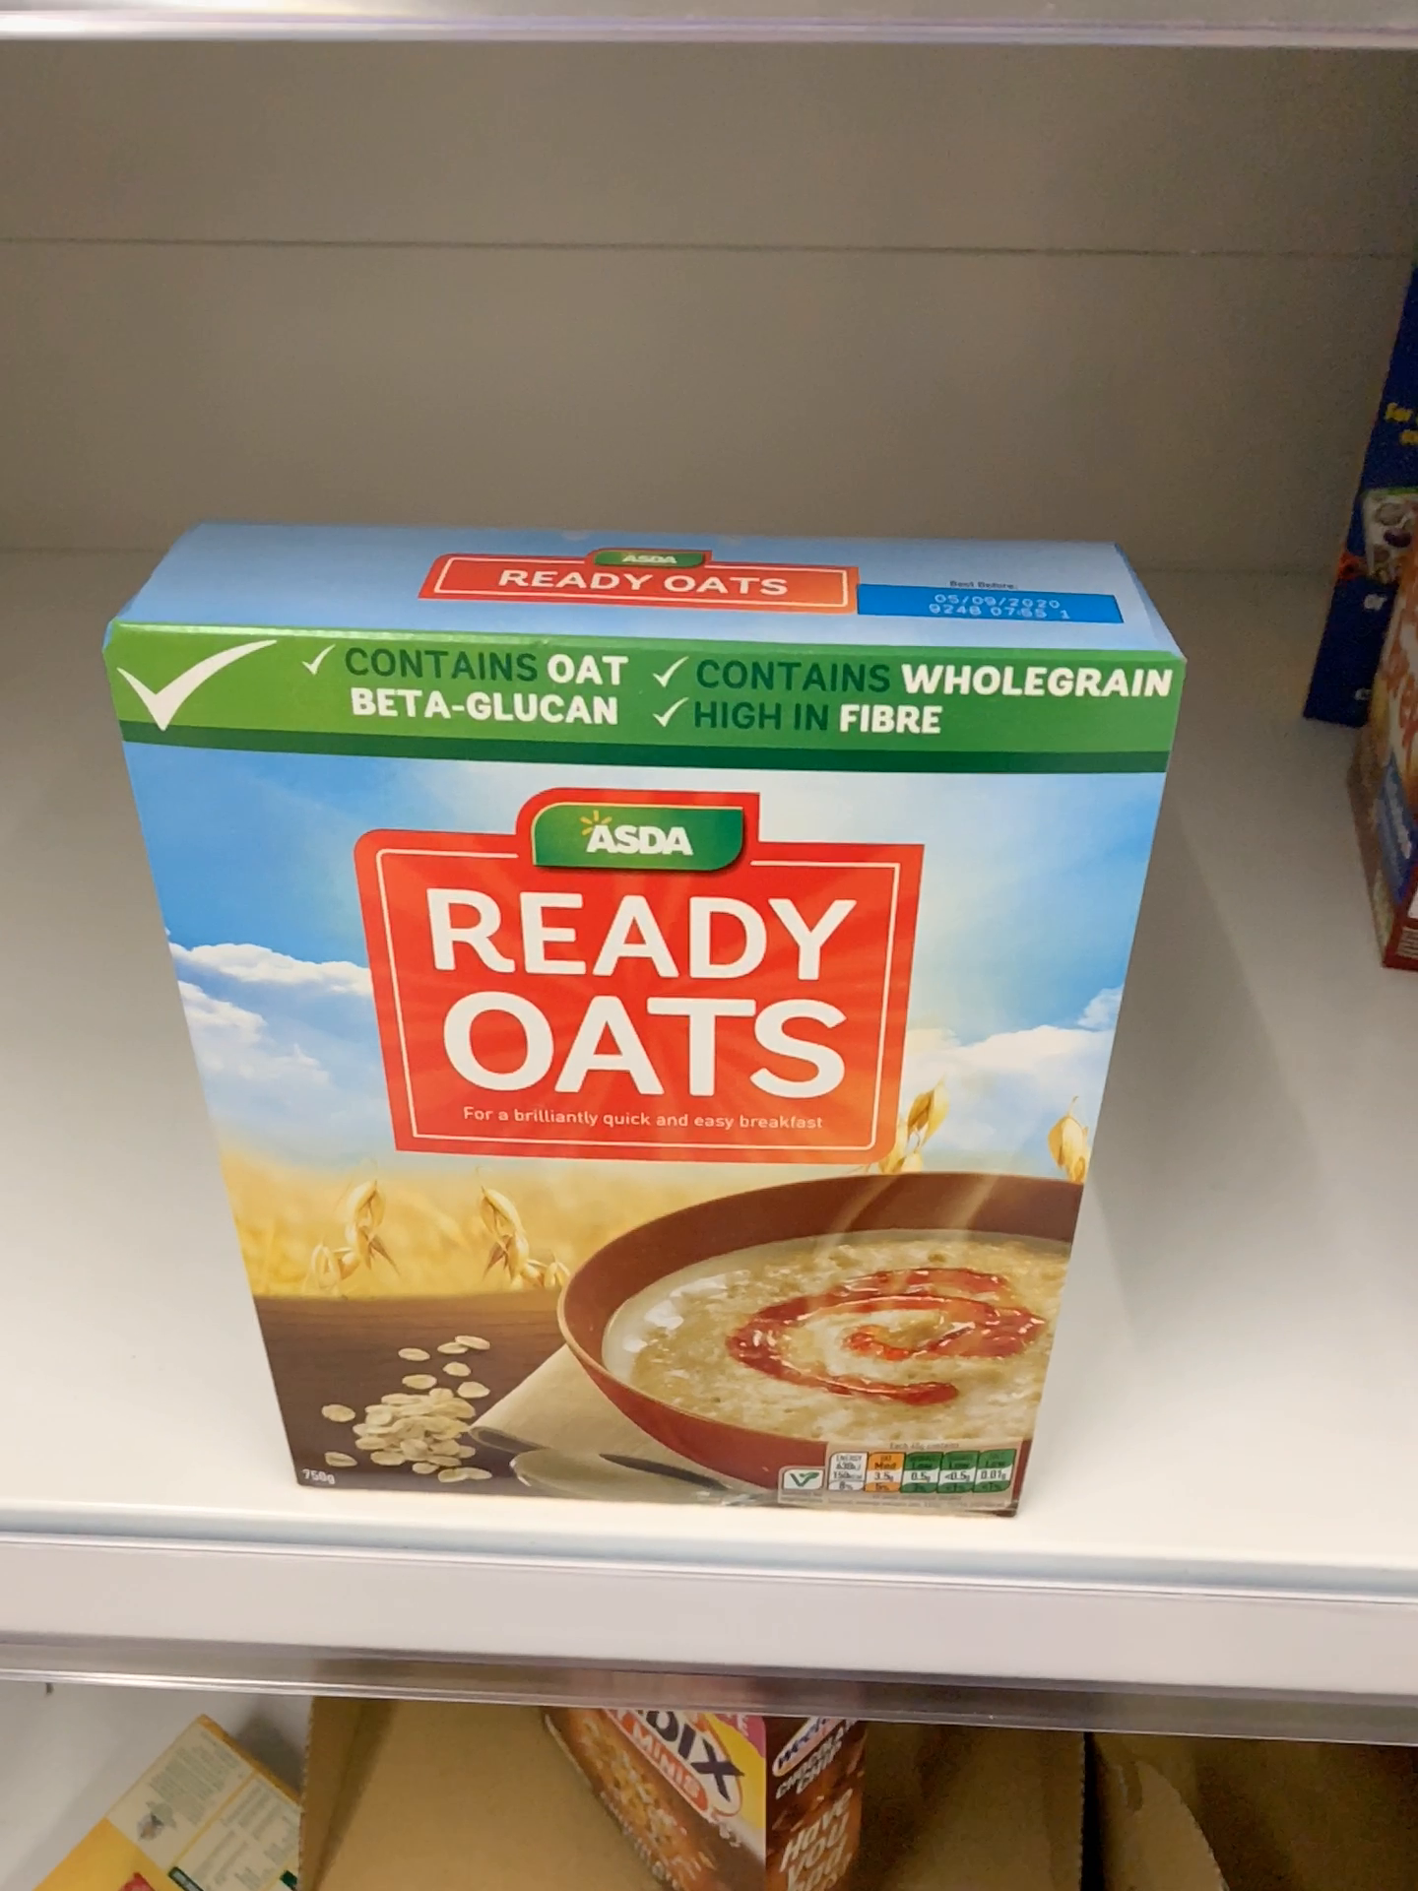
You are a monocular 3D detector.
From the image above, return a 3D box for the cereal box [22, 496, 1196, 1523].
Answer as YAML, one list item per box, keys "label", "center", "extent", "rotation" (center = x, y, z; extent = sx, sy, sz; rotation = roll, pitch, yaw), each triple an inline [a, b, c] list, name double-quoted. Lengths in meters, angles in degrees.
- label: "cereal box"
  center: [-0.018, 0.030, 0.363]
  extent: [0.210, 0.258, 0.071]
  rotation: [2, 35, 2]
